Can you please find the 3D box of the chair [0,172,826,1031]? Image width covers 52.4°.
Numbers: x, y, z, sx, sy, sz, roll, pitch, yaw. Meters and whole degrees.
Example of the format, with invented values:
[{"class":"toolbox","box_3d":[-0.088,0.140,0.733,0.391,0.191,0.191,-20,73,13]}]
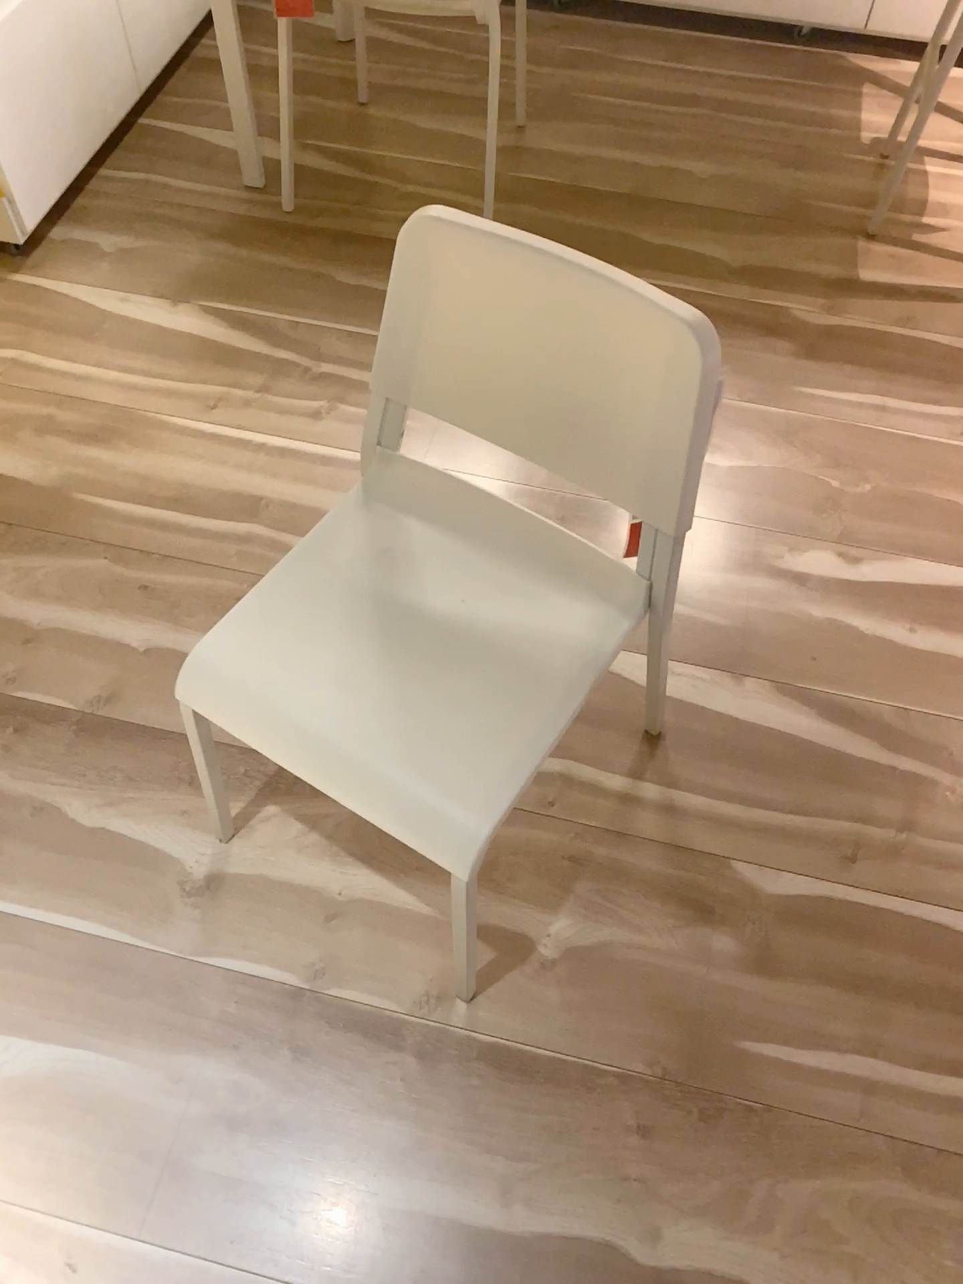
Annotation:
[{"class":"chair","box_3d":[-0.049,-0.006,1.158,0.520,0.708,0.551,28,60,16]}]
